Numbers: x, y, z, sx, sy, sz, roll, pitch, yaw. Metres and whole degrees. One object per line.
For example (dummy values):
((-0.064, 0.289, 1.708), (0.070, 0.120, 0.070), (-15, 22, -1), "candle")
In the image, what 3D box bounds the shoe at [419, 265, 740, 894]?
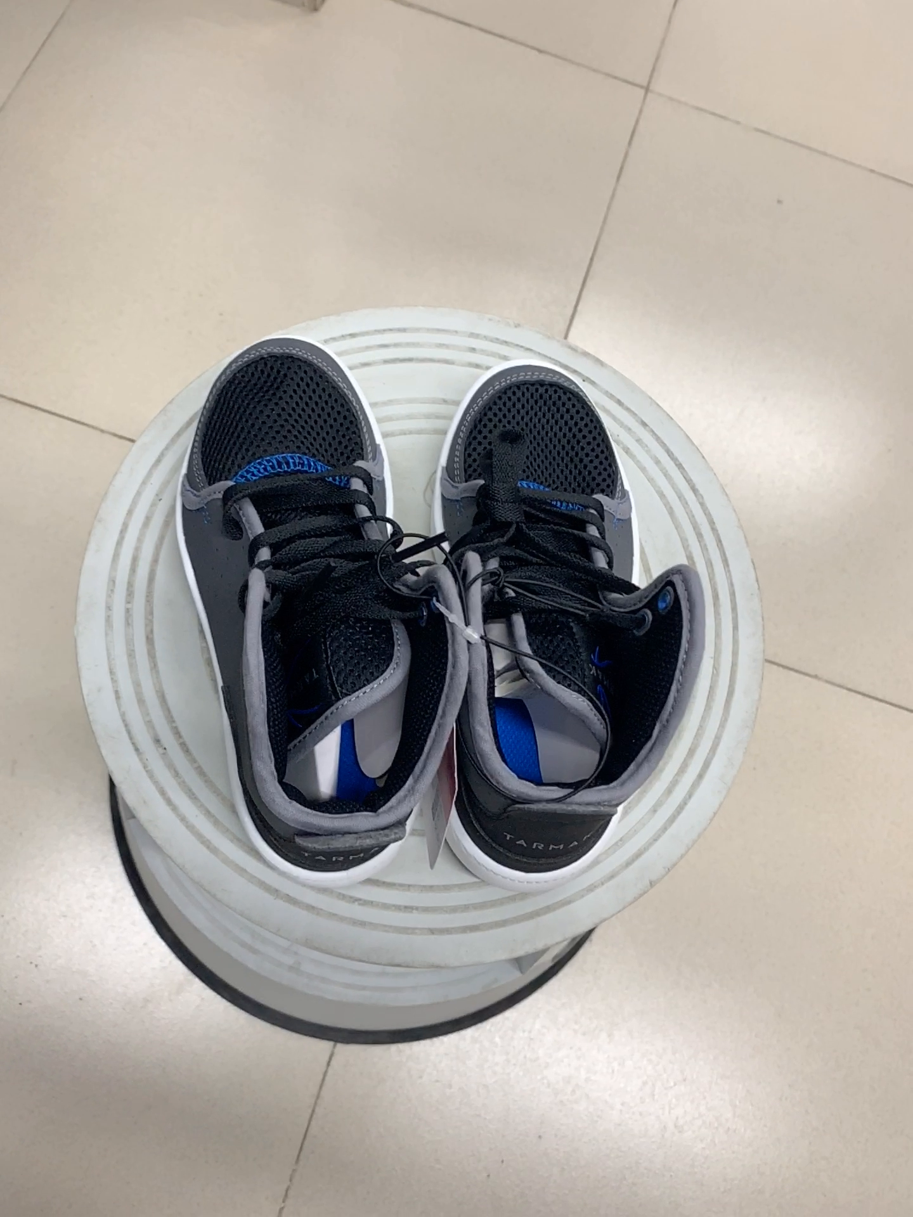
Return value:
((0.033, -0.001, 0.346), (0.080, 0.120, 0.200), (3, 72, -7), "shoe")

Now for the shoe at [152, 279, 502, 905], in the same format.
((-0.051, -0.003, 0.344), (0.090, 0.100, 0.200), (-6, 73, -9), "shoe")
